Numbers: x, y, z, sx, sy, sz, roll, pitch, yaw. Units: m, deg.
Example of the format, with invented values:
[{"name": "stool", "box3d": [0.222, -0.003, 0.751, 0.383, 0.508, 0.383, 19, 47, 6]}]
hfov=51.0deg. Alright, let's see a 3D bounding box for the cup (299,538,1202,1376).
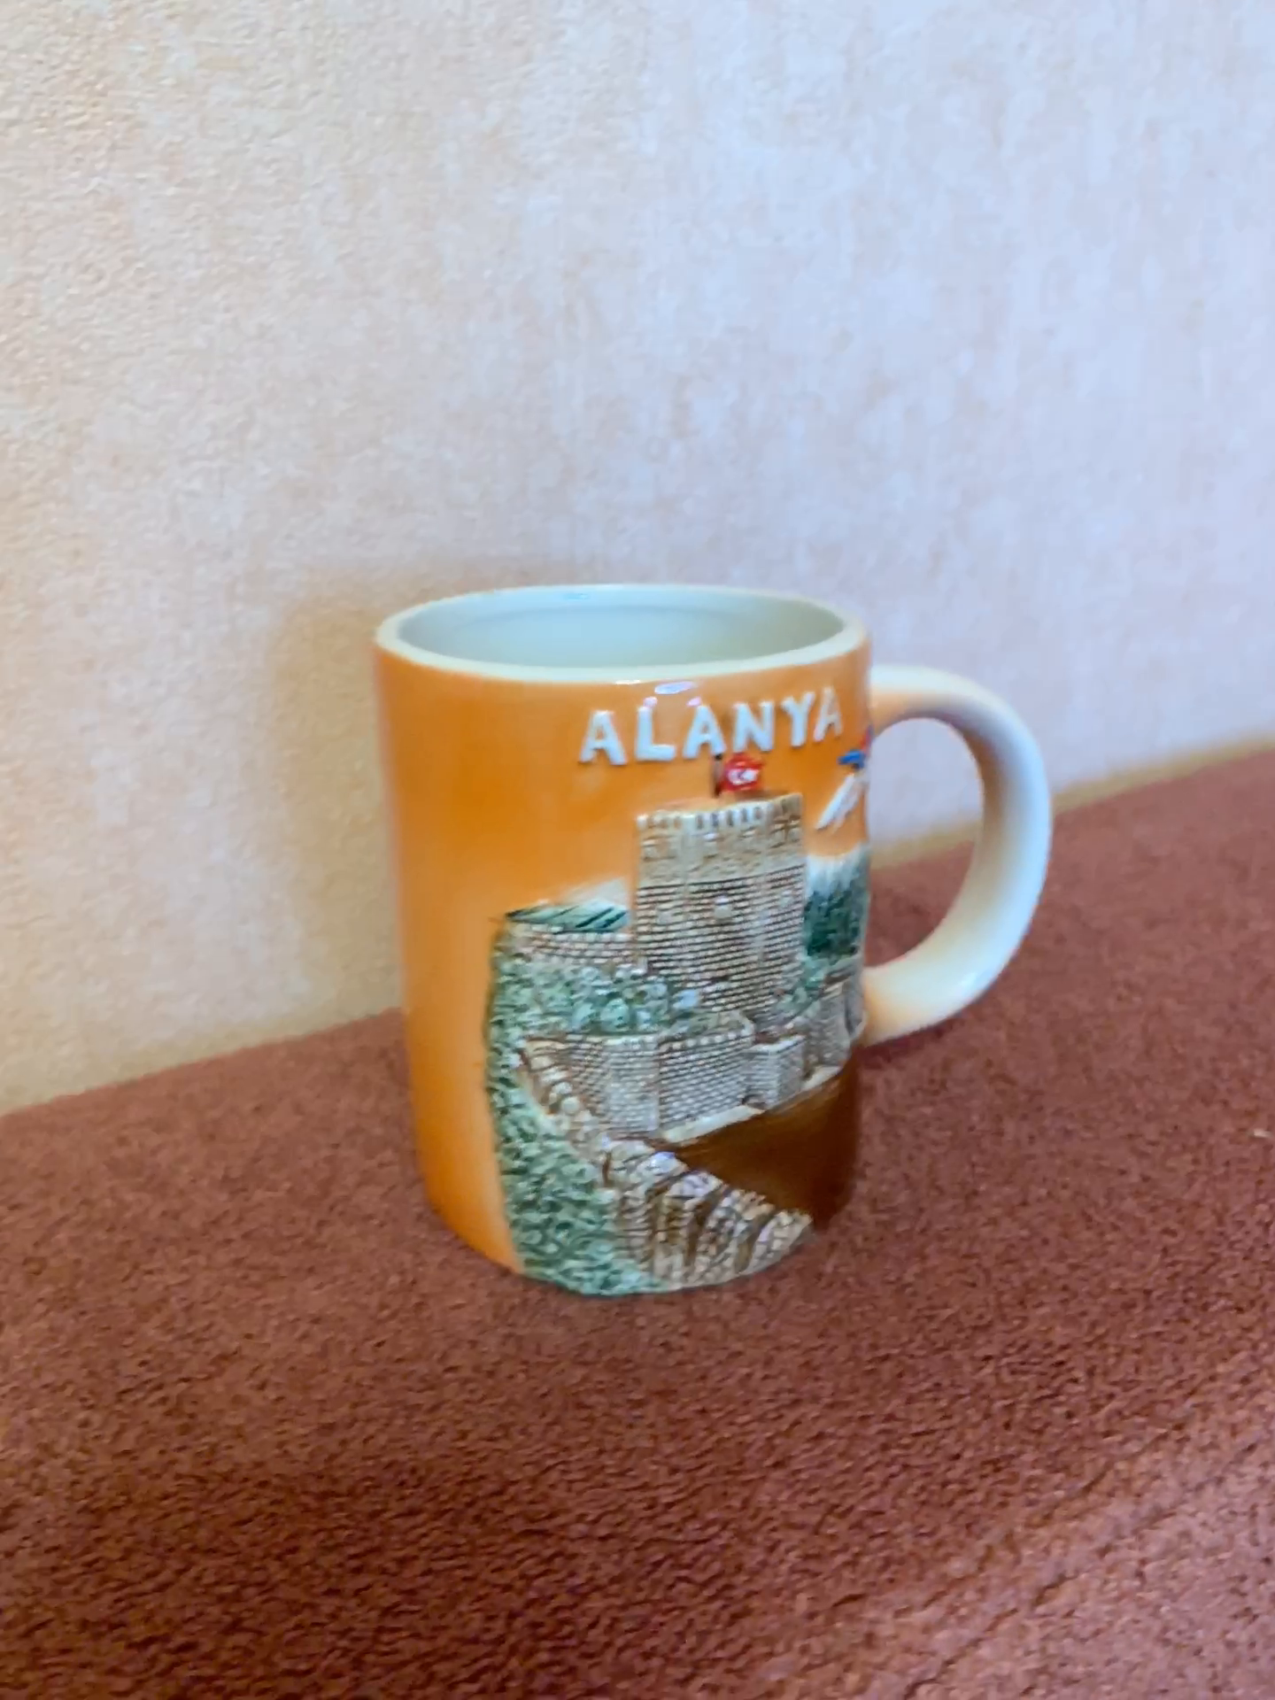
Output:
[{"name": "cup", "box3d": [0.015, 0.006, 0.237, 0.119, 0.098, 0.088, -11, 24, -23]}]
